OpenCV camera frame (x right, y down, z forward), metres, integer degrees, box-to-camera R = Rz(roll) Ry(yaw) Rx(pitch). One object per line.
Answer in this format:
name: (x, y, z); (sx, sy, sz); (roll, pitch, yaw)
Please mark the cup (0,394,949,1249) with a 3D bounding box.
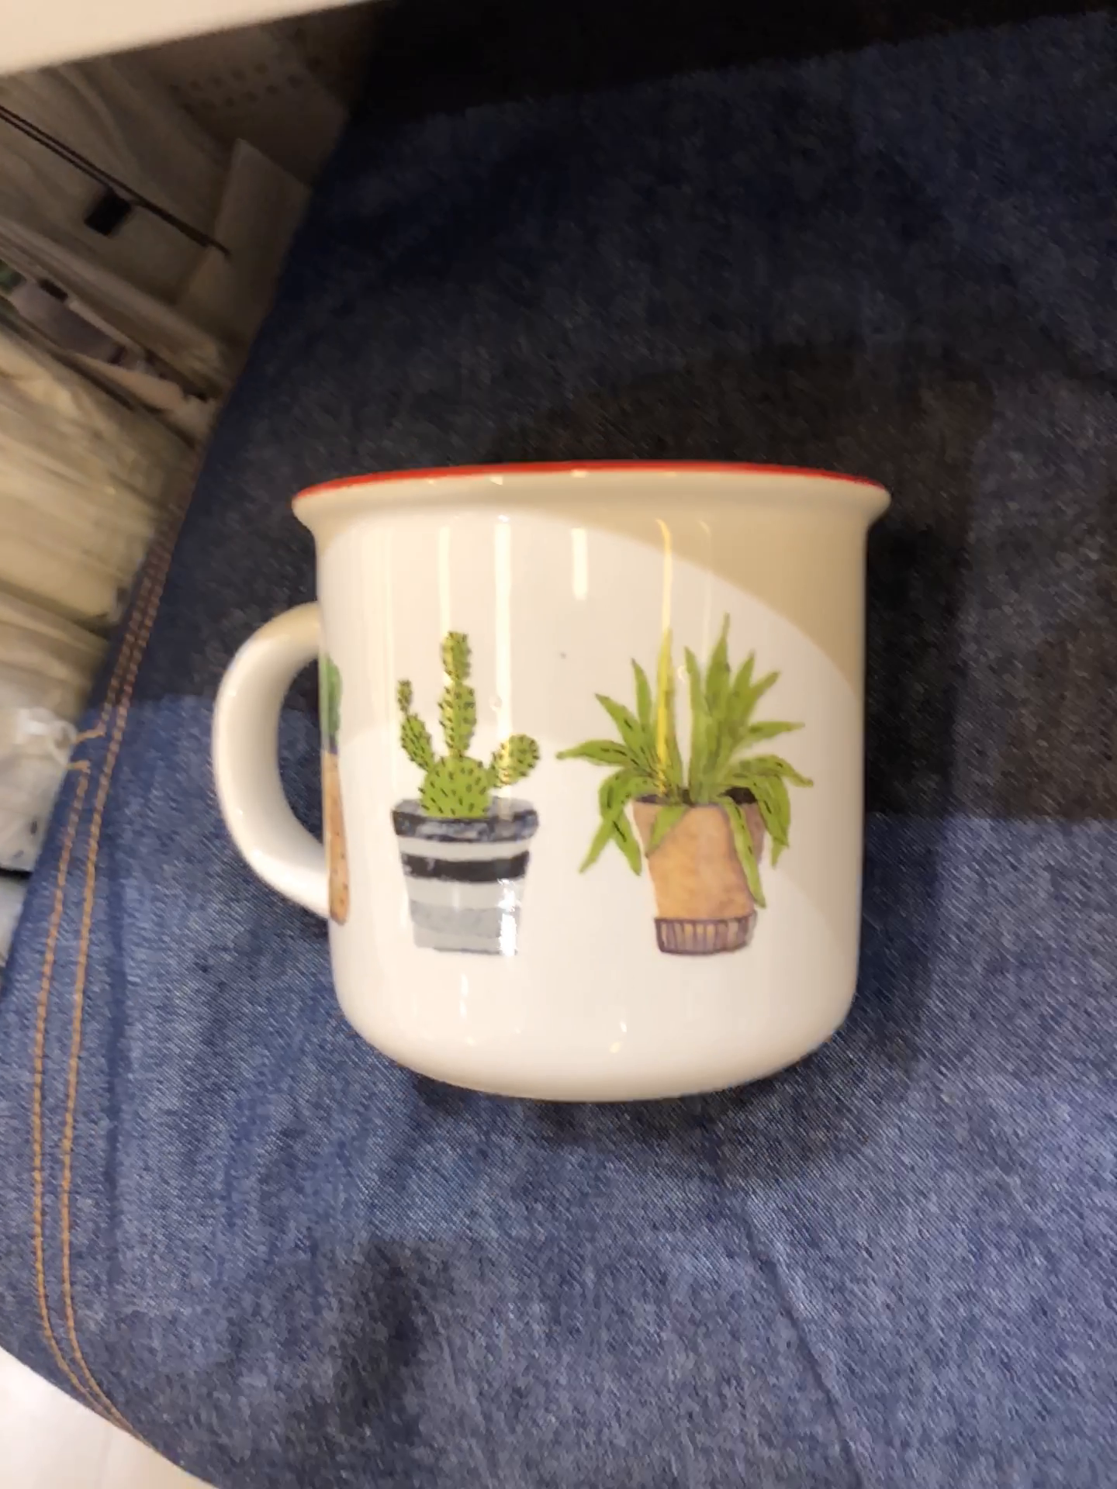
cup: (-0.012, 0.008, 0.217); (0.140, 0.090, 0.100); (1, 90, 24)
